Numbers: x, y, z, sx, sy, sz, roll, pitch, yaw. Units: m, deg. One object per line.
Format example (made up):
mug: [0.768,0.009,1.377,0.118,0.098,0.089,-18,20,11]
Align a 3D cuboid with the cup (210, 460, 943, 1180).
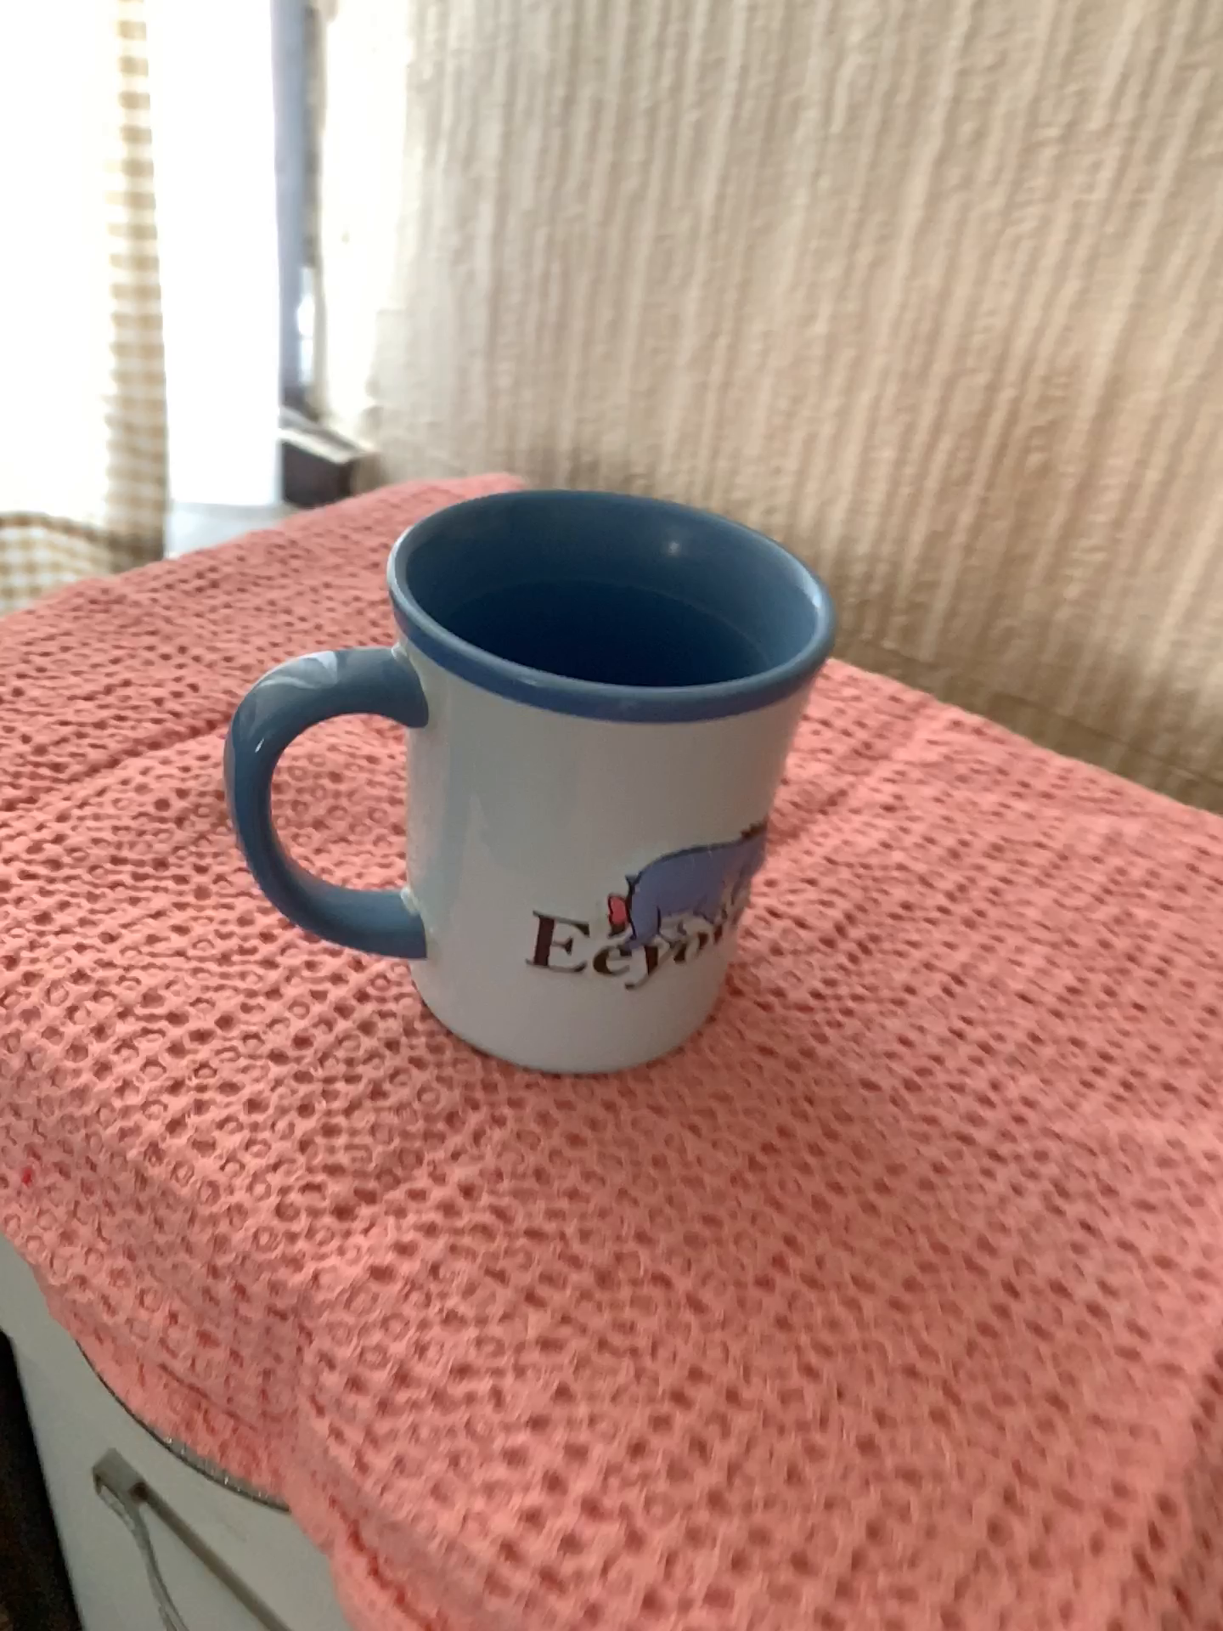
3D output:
cup: [-0.015,-0.007,0.266,0.110,0.099,0.091,-10,40,-25]
